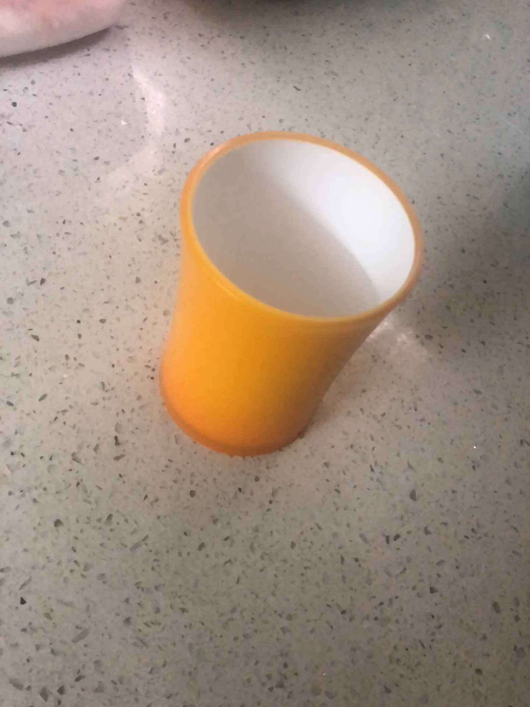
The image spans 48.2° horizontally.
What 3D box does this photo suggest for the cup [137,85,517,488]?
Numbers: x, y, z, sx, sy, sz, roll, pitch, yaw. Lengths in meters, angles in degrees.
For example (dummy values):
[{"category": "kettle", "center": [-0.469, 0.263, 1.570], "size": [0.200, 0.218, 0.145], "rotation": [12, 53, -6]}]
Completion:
[{"category": "cup", "center": [0.005, -0.017, 0.204], "size": [0.080, 0.110, 0.080], "rotation": [7, 59, -11]}]
